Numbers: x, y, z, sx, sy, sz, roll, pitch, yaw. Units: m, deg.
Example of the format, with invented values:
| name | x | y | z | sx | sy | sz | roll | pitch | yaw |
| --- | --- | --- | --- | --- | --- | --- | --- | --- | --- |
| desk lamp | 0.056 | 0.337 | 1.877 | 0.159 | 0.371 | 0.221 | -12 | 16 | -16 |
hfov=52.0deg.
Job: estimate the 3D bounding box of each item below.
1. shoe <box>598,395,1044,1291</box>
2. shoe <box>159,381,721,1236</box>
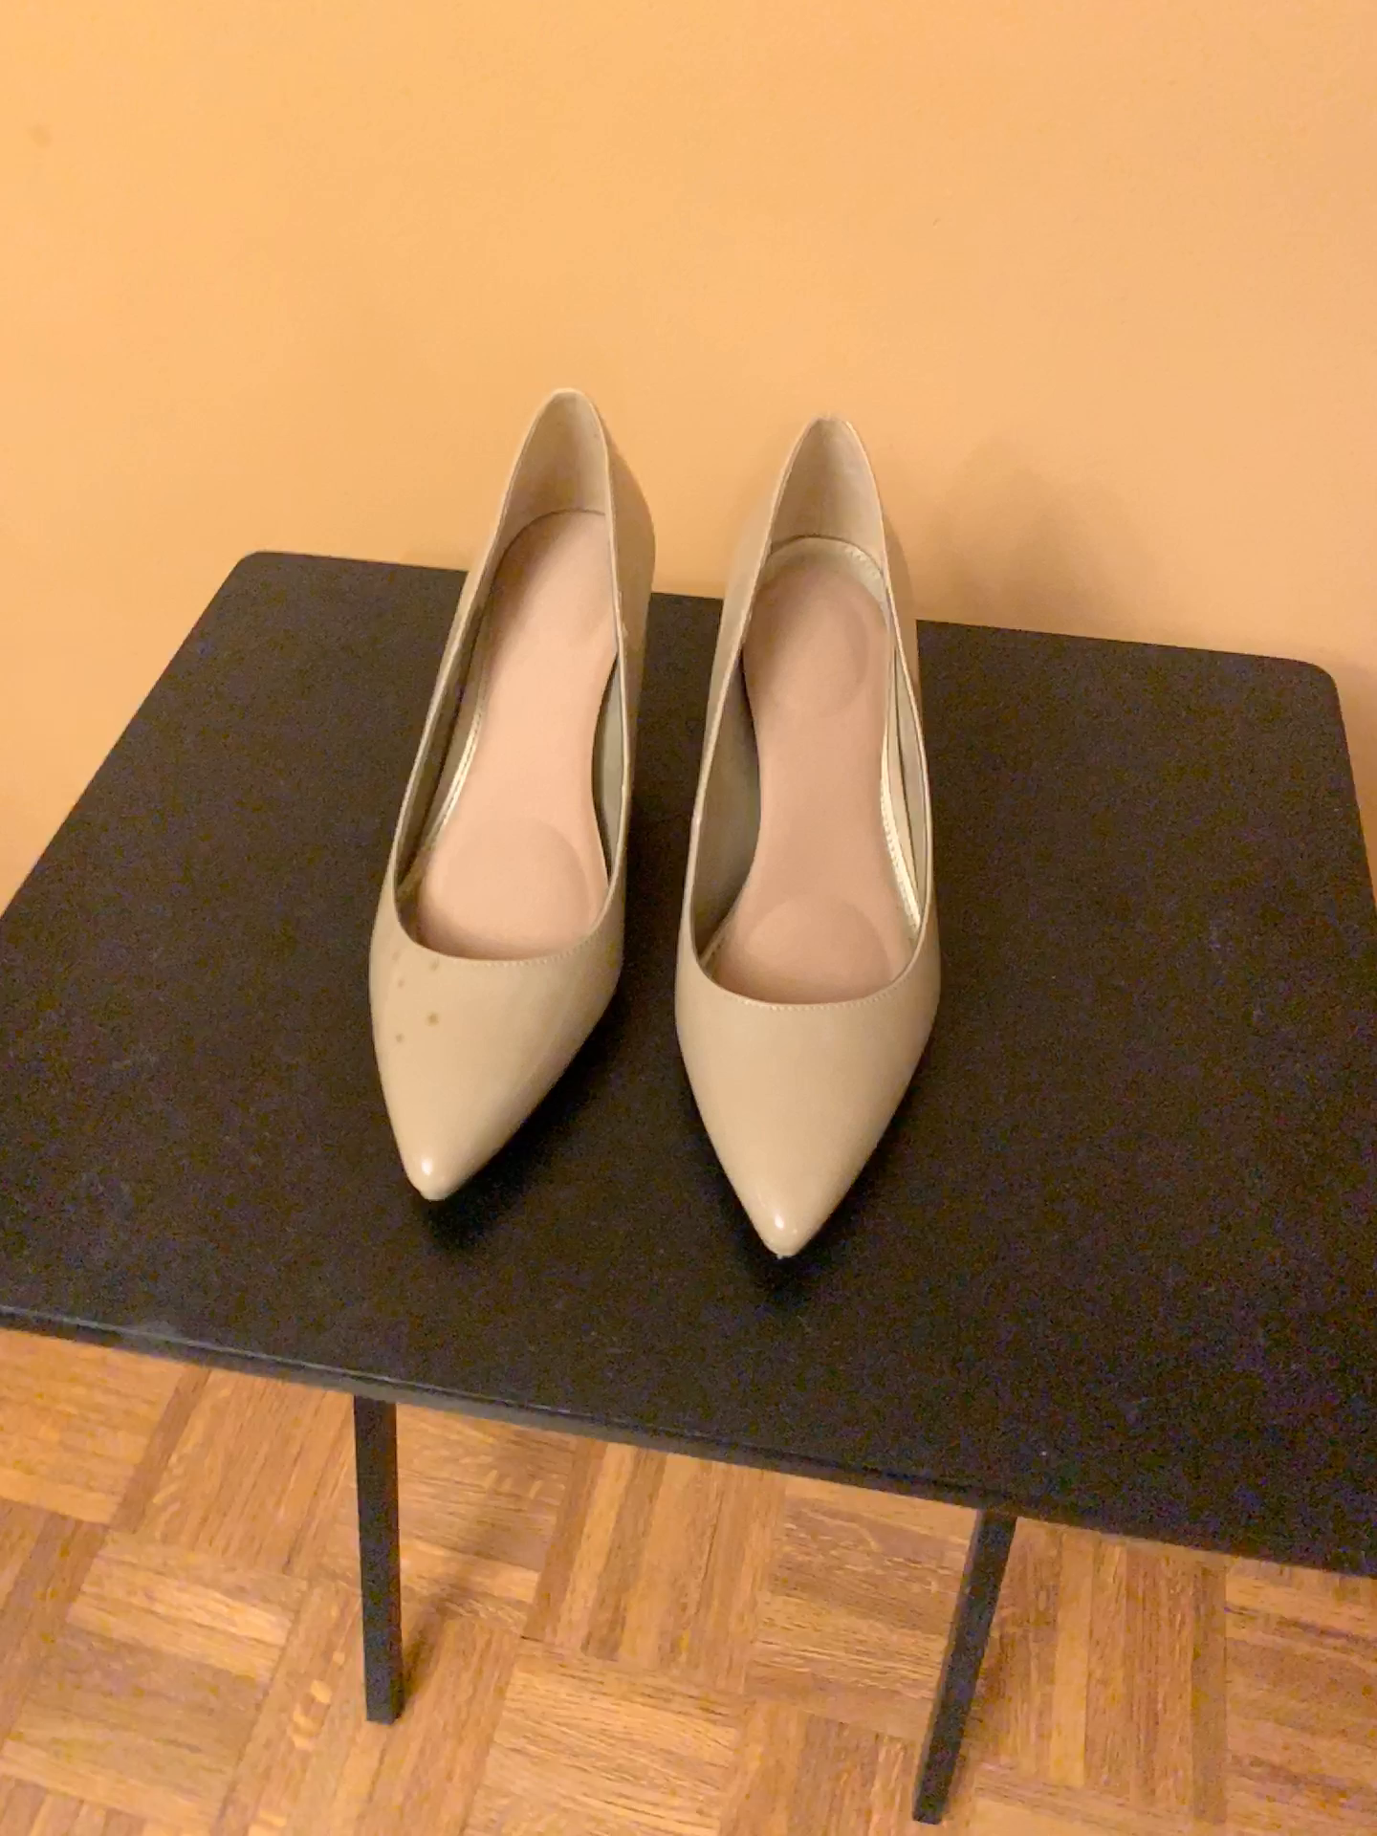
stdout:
| name | x | y | z | sx | sy | sz | roll | pitch | yaw |
| --- | --- | --- | --- | --- | --- | --- | --- | --- | --- |
| shoe | 0.048 | -0.046 | 0.449 | 0.100 | 0.090 | 0.301 | 6 | 49 | 5 |
| shoe | -0.057 | -0.057 | 0.465 | 0.100 | 0.090 | 0.301 | 6 | 49 | 5 |
